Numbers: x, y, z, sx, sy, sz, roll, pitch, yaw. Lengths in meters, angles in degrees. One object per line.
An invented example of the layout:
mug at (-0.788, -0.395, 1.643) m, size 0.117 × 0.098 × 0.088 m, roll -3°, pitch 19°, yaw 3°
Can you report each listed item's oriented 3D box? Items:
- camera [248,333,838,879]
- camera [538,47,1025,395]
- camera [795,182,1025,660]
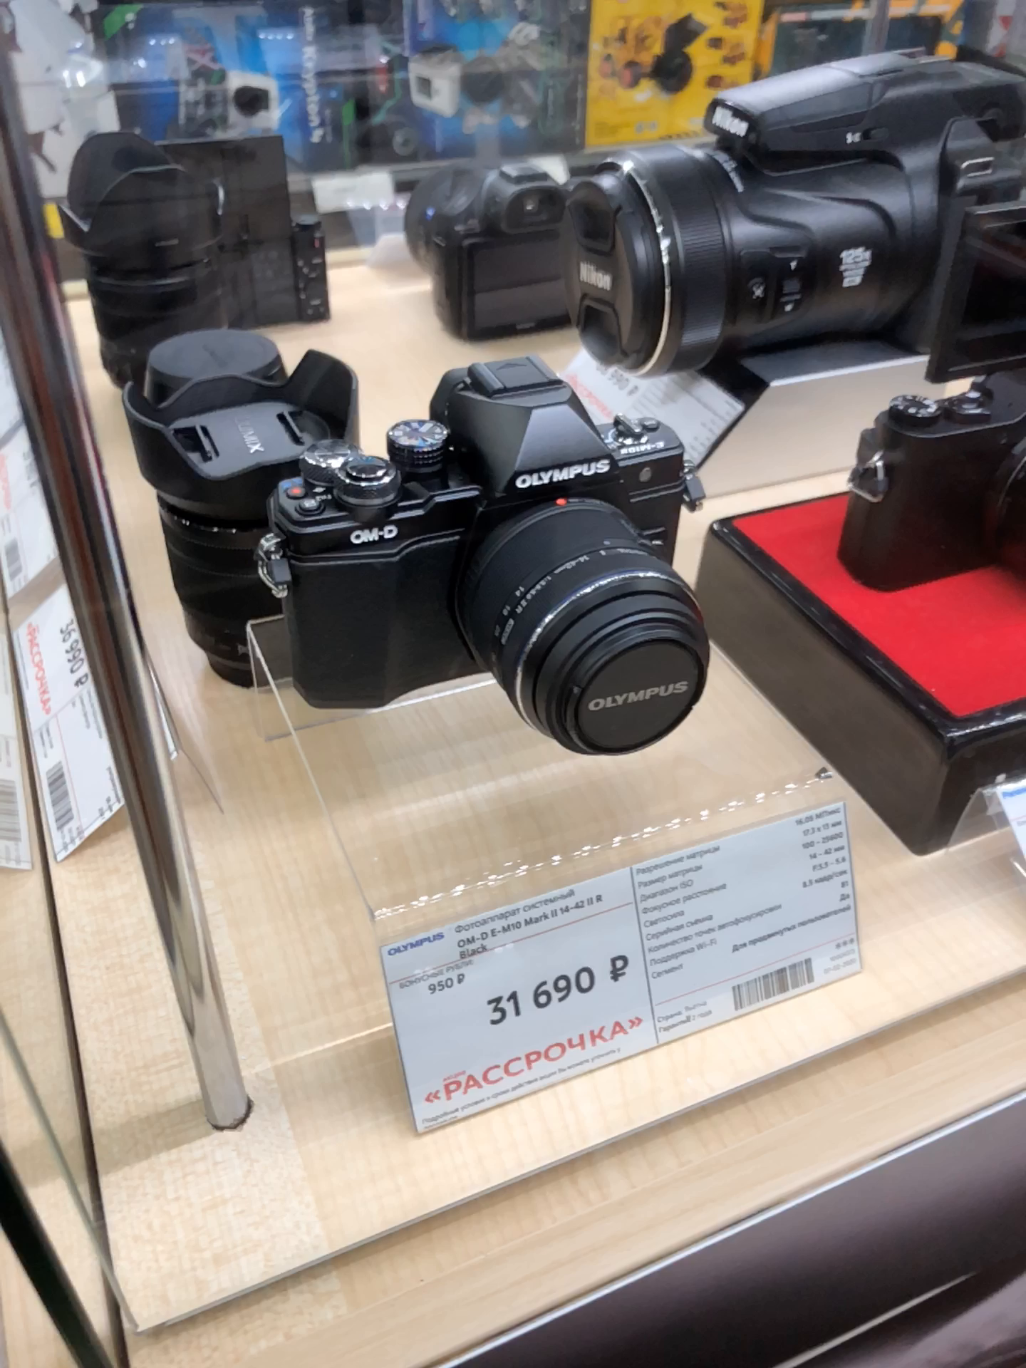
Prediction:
camera at (0.002, -0.028, 0.314) m, size 0.118 × 0.088 × 0.101 m, roll -14°, pitch 39°, yaw -18°
camera at (0.117, -0.213, 0.513) m, size 0.185 × 0.109 × 0.104 m, roll -11°, pitch 39°, yaw -15°
camera at (0.167, -0.085, 0.356) m, size 0.118 × 0.109 × 0.072 m, roll -14°, pitch 39°, yaw -18°
